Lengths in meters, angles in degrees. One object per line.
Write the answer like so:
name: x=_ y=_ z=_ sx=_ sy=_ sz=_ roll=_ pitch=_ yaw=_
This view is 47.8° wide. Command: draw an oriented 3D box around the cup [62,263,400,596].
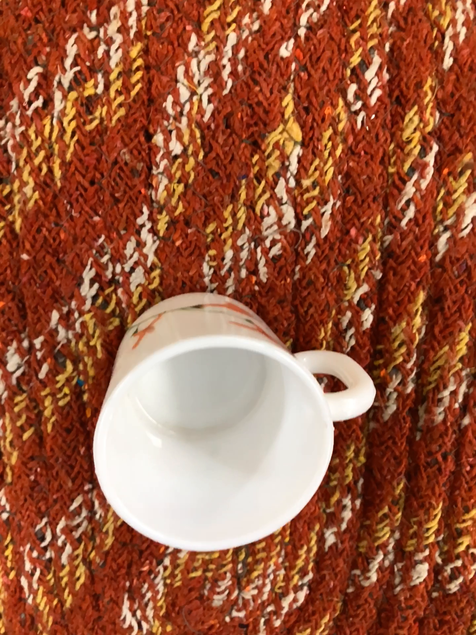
cup: x=-0.002 y=0.027 z=0.164 sx=0.080 sy=0.060 sz=0.070 roll=-7 pitch=105 yaw=-6
